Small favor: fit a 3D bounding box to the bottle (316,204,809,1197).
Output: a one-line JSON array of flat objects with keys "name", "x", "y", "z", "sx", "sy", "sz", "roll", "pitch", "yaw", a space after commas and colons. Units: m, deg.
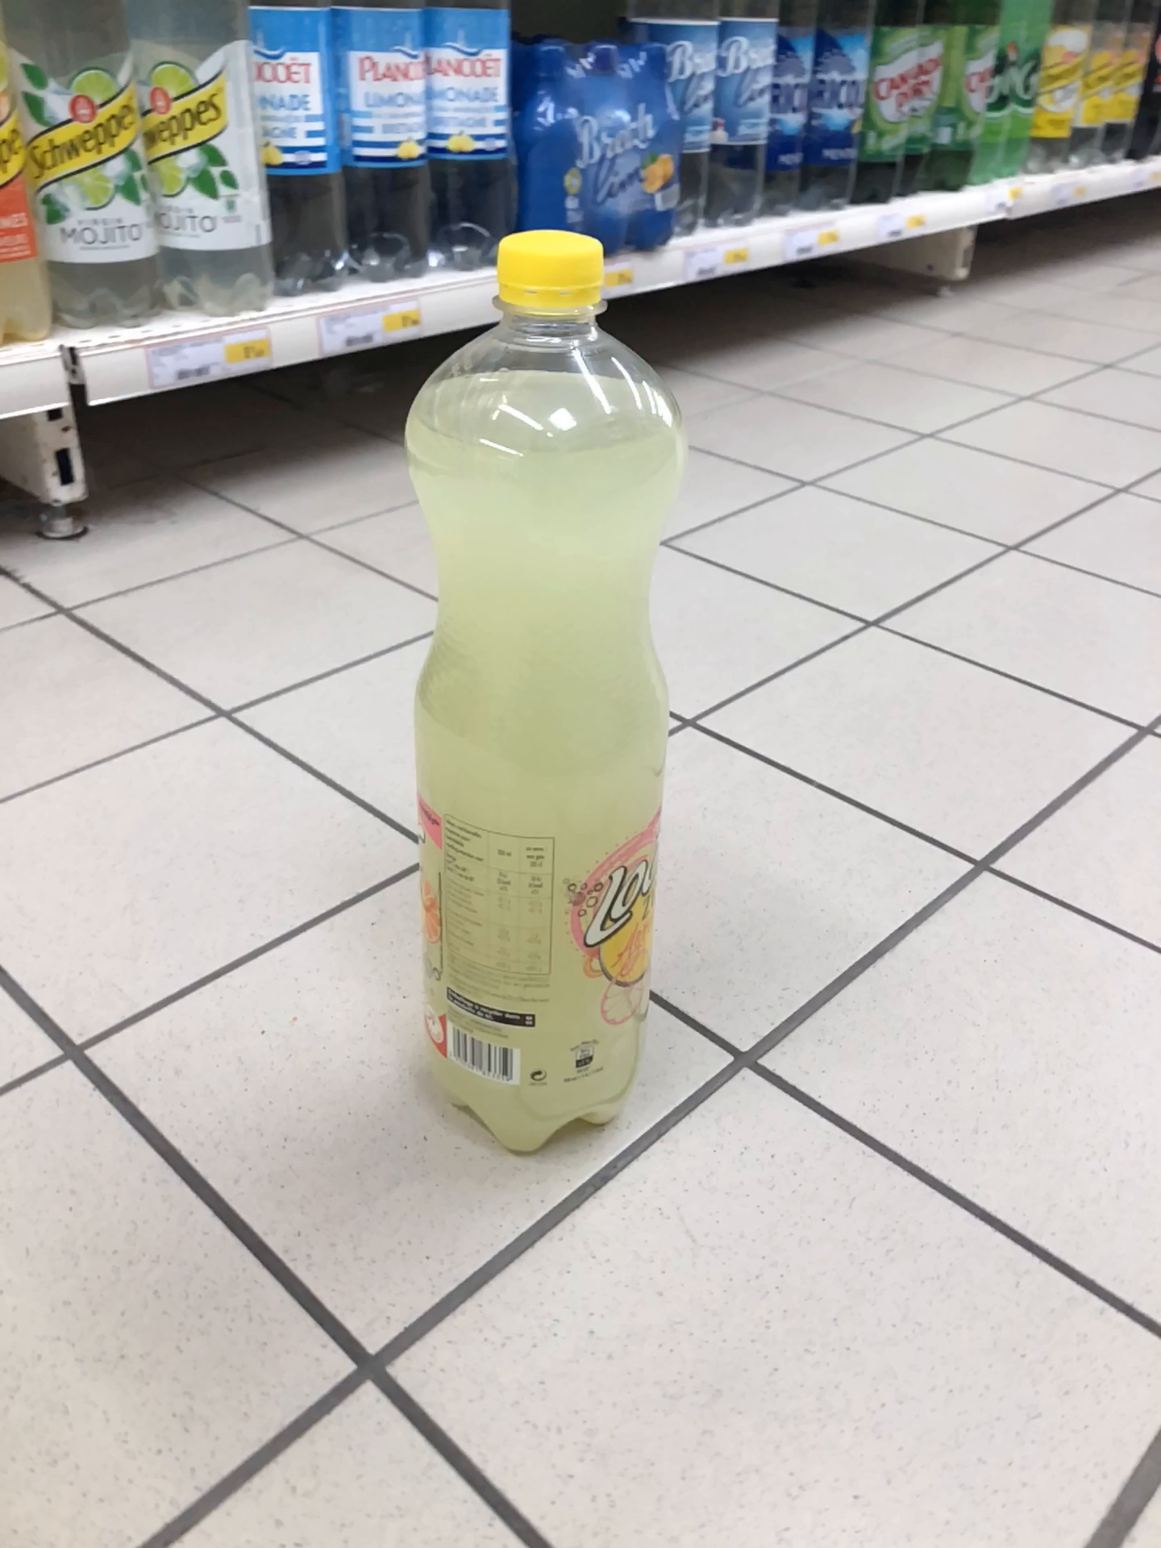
[{"name": "bottle", "x": -0.004, "y": -0.017, "z": 0.427, "sx": 0.100, "sy": 0.298, "sz": 0.111, "roll": 13, "pitch": 33, "yaw": 18}]
